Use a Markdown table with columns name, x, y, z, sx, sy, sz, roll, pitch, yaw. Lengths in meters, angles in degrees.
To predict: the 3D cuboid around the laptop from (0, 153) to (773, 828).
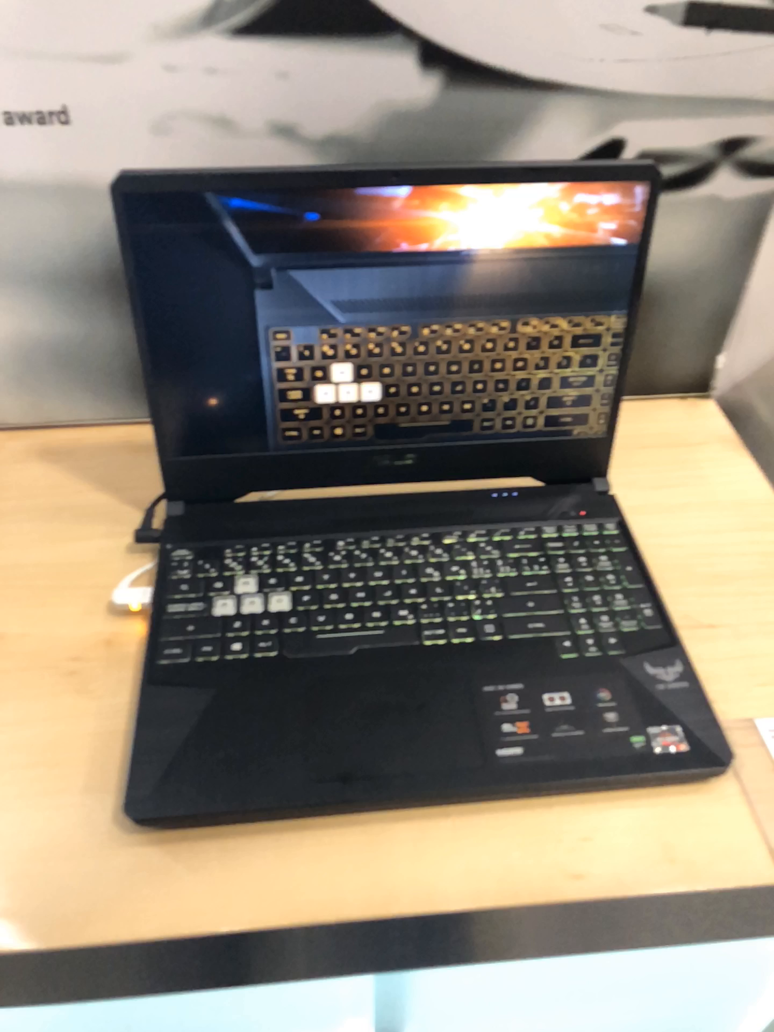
| name | x | y | z | sx | sy | sz | roll | pitch | yaw |
| --- | --- | --- | --- | --- | --- | --- | --- | --- | --- |
| laptop | 0.014 | -0.035 | 0.513 | 0.358 | 0.245 | 0.310 | -4 | 43 | -5 |
